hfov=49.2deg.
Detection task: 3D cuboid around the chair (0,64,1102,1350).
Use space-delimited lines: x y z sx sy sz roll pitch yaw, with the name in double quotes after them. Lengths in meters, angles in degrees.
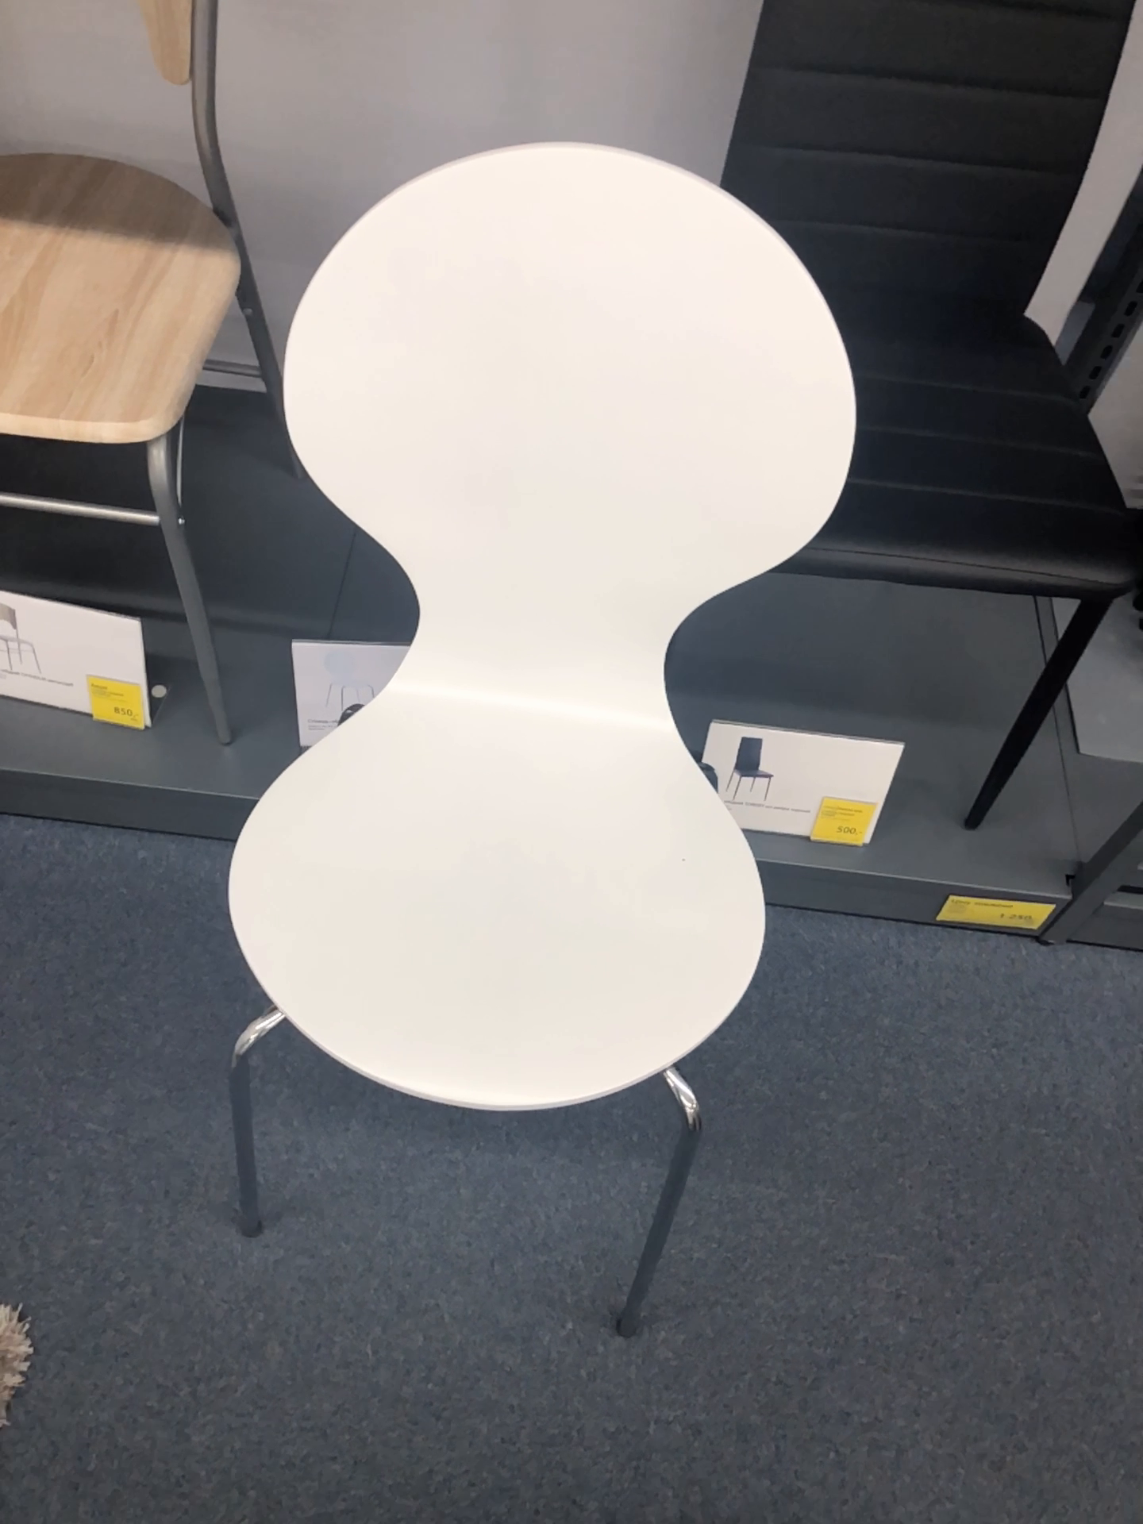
-0.064 0.064 1.035 0.560 0.897 0.542 11 55 0 "chair"
